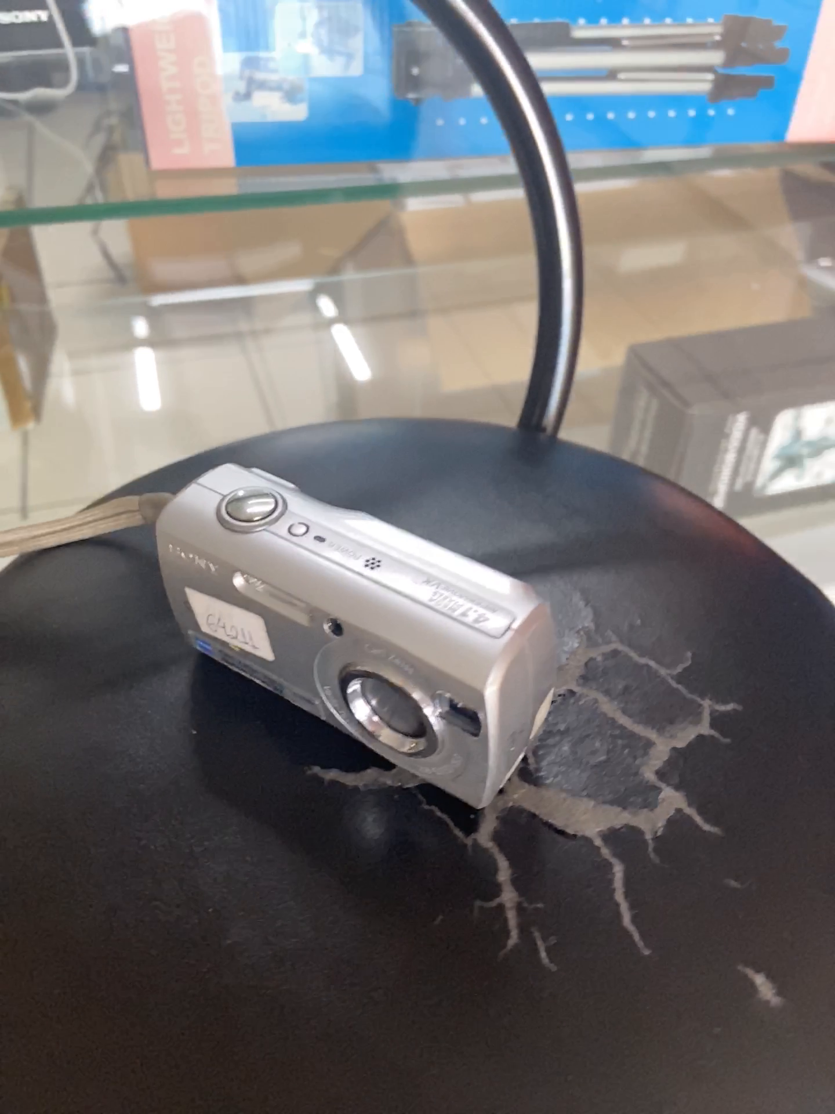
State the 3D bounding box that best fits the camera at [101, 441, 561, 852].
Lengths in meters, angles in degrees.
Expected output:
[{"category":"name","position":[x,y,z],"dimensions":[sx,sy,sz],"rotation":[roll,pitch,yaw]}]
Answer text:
[{"category":"camera","position":[-0.022,0.018,0.214],"dimensions":[0.100,0.050,0.040],"rotation":[24,46,24]}]
